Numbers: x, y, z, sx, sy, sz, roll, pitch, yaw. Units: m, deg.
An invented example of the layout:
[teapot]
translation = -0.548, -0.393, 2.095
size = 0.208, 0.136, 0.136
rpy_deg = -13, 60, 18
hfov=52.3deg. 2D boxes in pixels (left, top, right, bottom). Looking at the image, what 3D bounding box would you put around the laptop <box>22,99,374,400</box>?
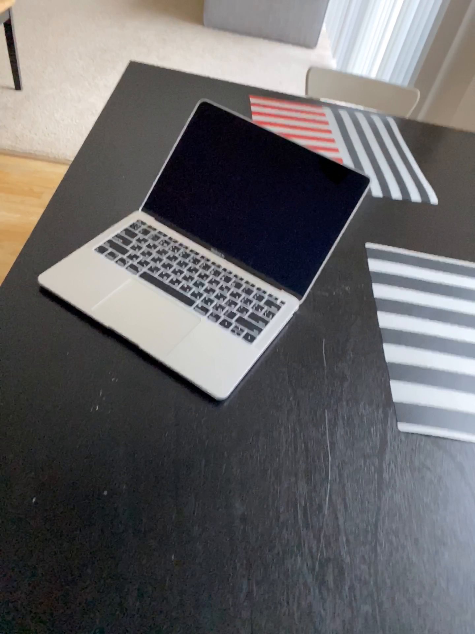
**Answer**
[laptop]
translation = -0.034, -0.125, 0.665
size = 0.297, 0.139, 0.362
rpy_deg = 30, 49, 14
